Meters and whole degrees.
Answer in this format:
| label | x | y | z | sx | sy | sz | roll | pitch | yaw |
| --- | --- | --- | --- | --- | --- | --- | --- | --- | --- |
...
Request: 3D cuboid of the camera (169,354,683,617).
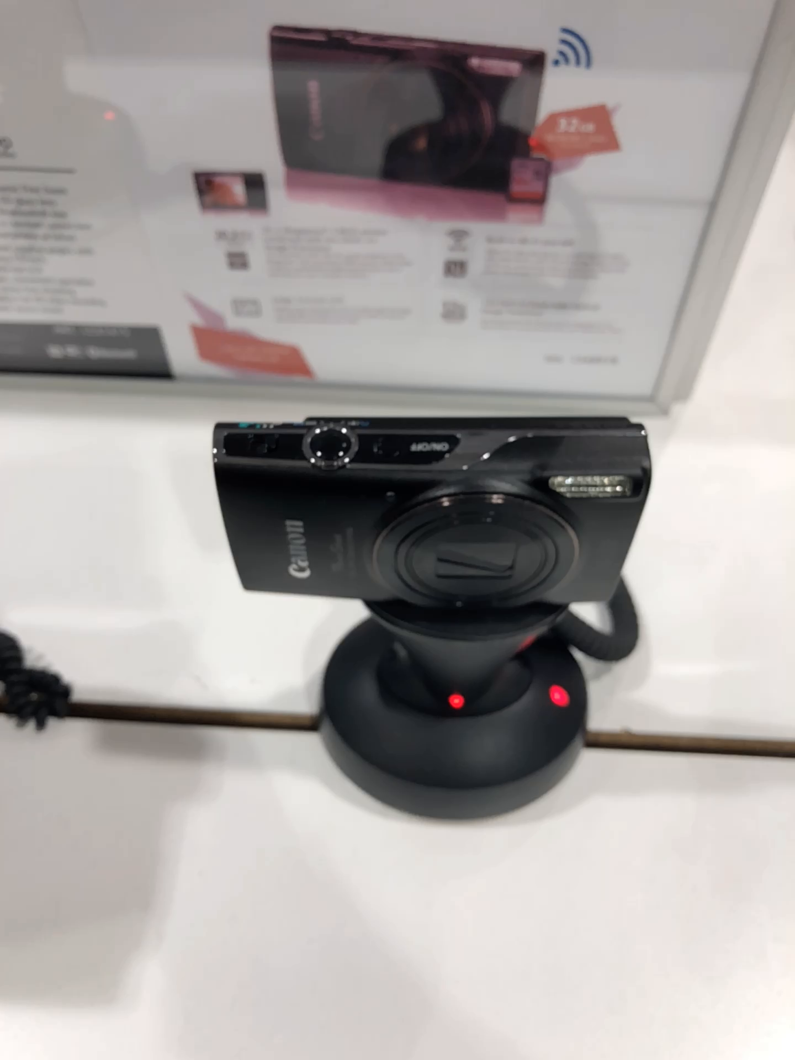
| label | x | y | z | sx | sy | sz | roll | pitch | yaw |
| --- | --- | --- | --- | --- | --- | --- | --- | --- | --- |
| camera | 0.006 | -0.009 | 0.226 | 0.110 | 0.060 | 0.030 | 3 | 55 | 2 |
